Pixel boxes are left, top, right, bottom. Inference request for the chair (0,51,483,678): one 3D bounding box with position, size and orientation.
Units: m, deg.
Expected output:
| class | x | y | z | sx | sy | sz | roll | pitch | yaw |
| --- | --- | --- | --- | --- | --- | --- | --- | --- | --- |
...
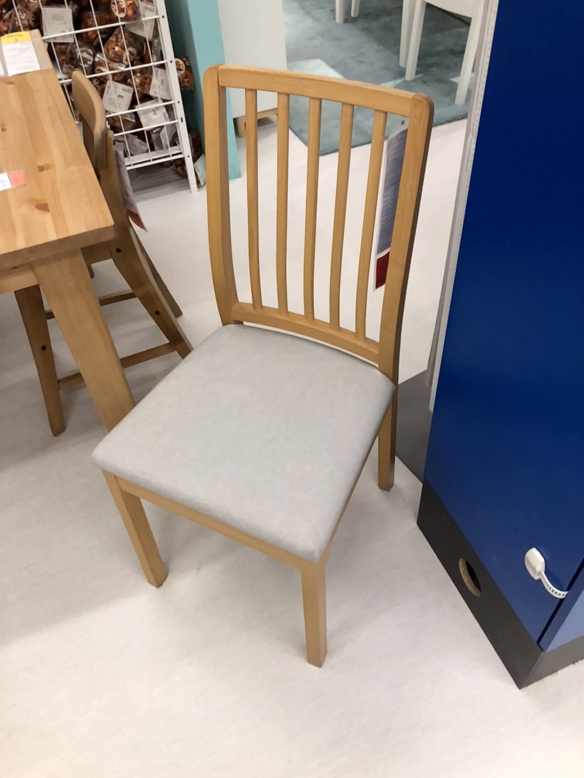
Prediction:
| class | x | y | z | sx | sy | sz | roll | pitch | yaw |
| --- | --- | --- | --- | --- | --- | --- | --- | --- | --- |
| chair | -0.040 | 0.000 | 1.089 | 0.451 | 0.855 | 0.512 | 19 | 52 | 21 |
